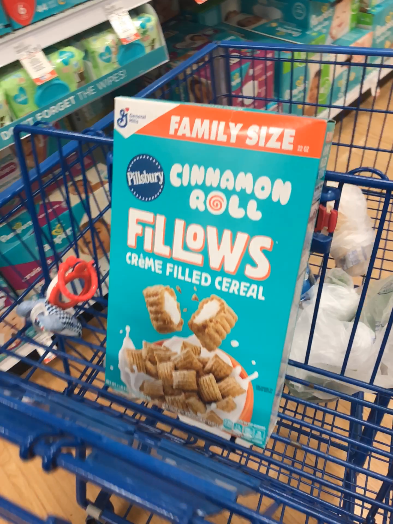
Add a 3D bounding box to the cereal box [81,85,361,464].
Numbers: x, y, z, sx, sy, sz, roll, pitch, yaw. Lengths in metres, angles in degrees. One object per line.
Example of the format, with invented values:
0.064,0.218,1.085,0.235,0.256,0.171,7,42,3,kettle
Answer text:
0.005,0.006,0.393,0.210,0.290,0.060,14,19,21,cereal box
